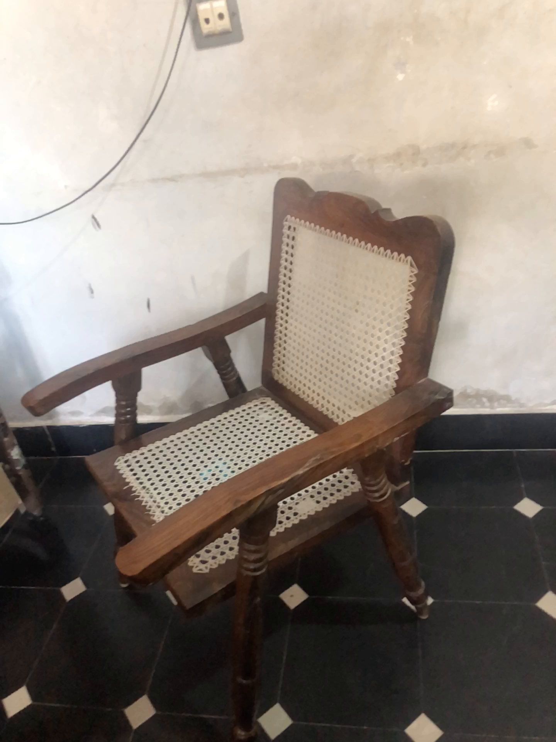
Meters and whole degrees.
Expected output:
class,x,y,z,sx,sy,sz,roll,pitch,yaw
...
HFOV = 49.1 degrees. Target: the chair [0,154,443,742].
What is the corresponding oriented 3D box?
class,x,y,z,sx,sy,sz,roll,pitch,yaw
chair,-0.117,0.117,1.119,0.561,0.796,0.581,-29,37,-25
